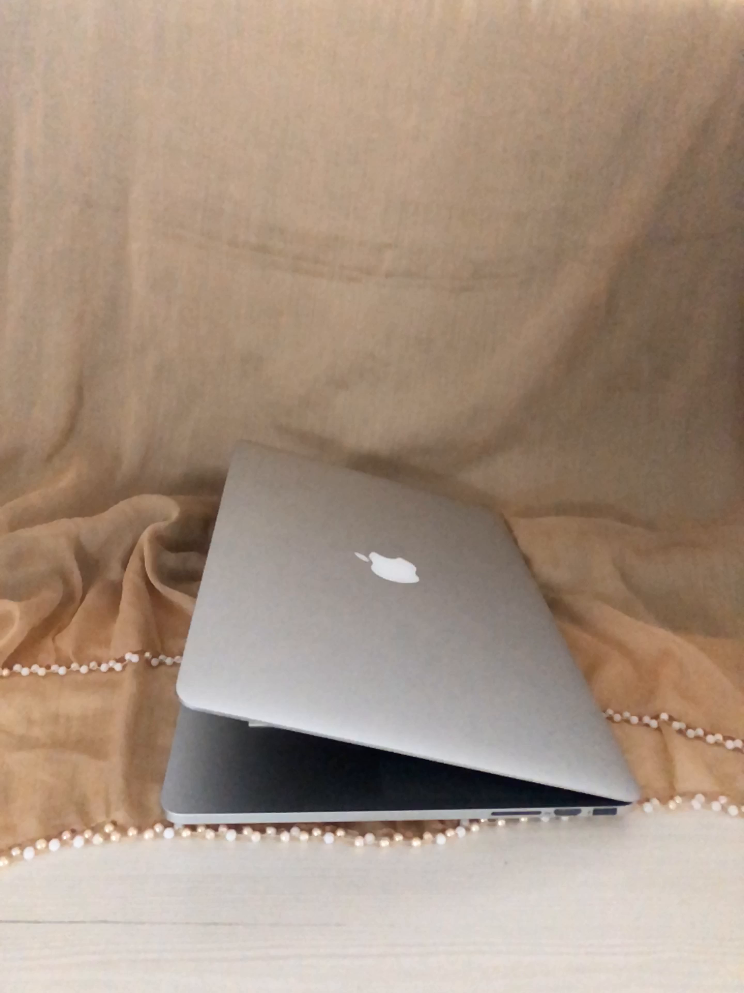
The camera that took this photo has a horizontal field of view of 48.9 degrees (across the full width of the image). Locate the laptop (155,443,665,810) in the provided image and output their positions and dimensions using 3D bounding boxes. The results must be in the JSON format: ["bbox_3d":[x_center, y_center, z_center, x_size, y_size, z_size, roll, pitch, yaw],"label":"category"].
[{"bbox_3d":[0.006,0.057,0.555,0.239,0.063,0.353,2,23,-5],"label":"laptop"}]
